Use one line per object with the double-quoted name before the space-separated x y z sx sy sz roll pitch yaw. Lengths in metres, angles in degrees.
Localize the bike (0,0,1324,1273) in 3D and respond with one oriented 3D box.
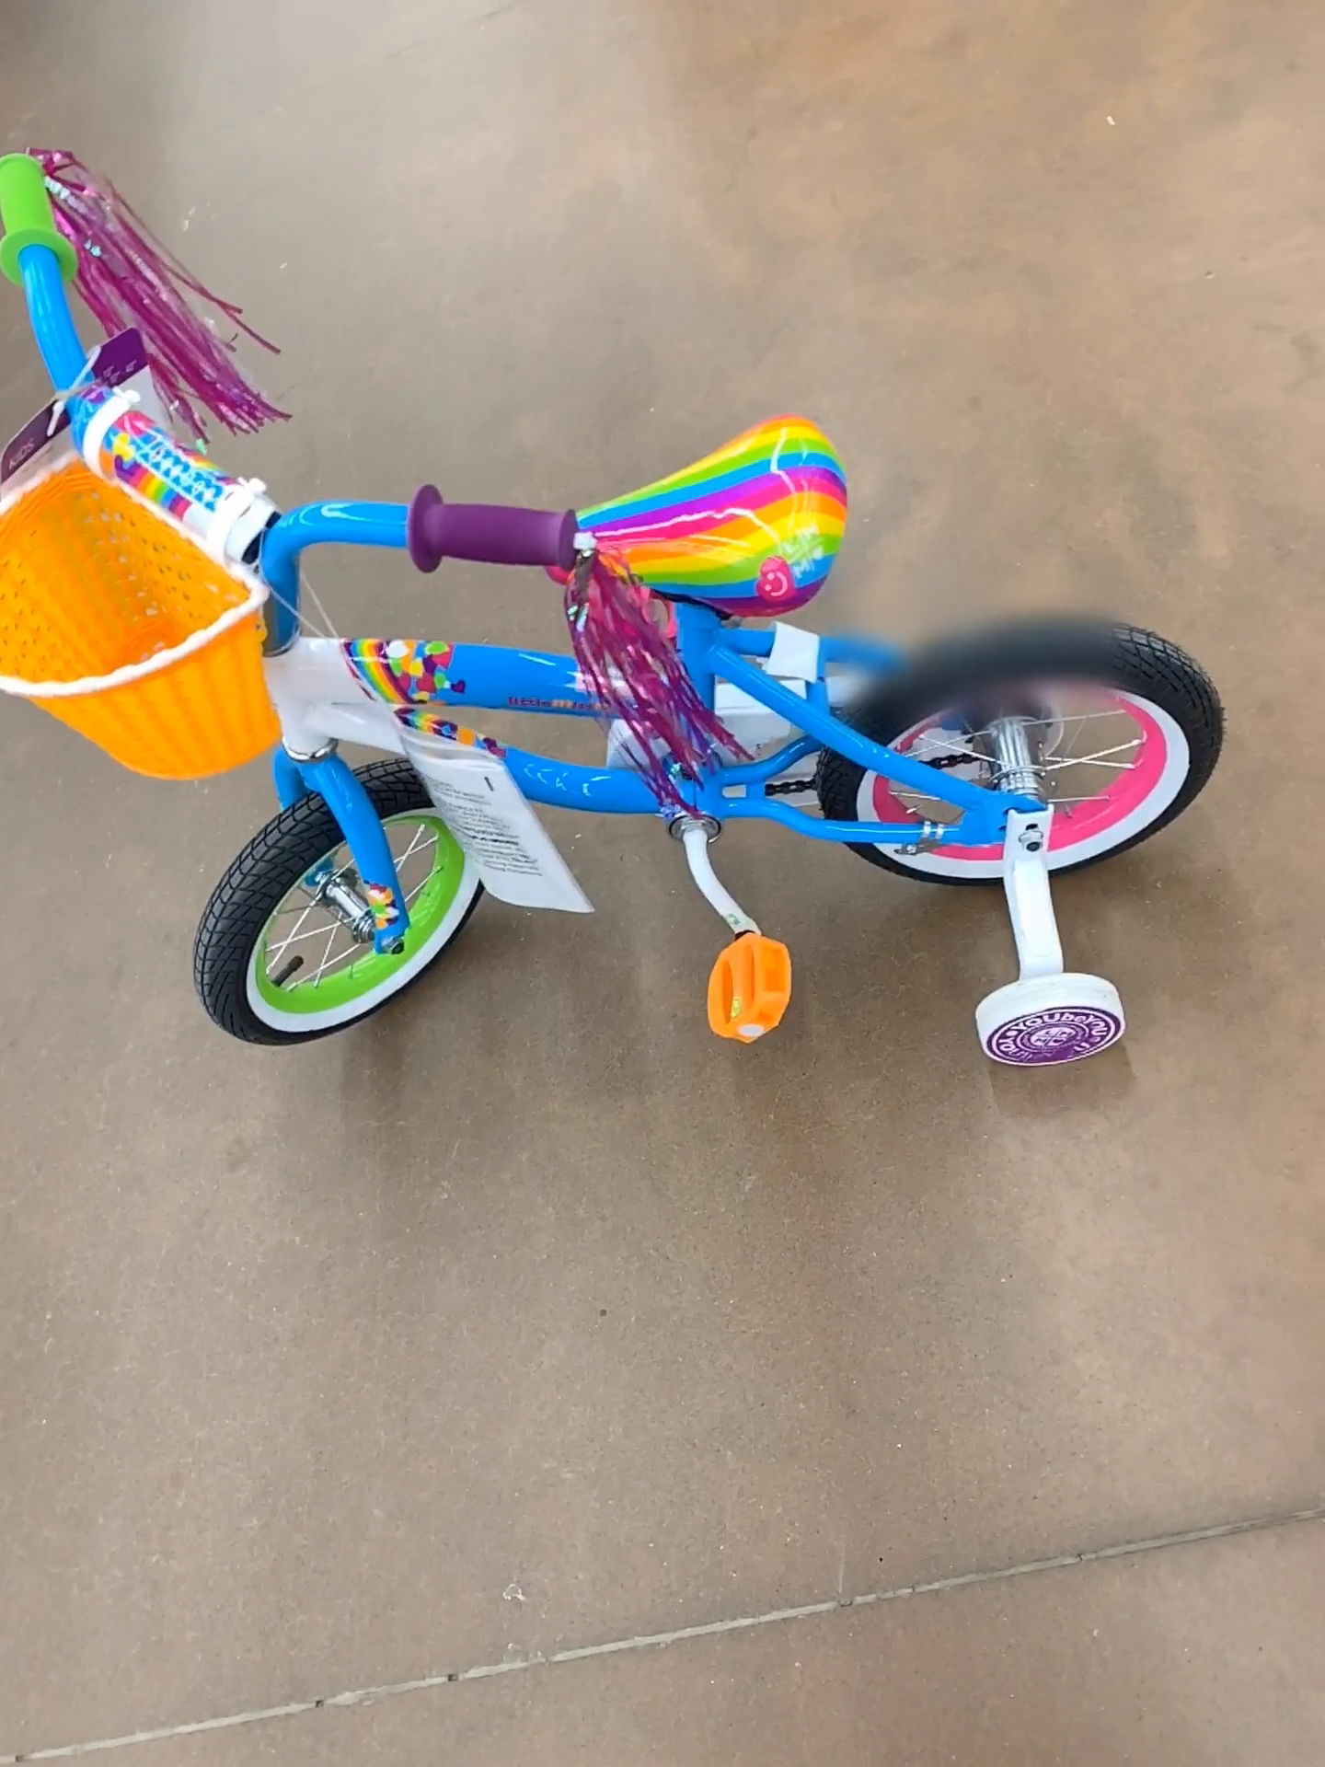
"bike" -0.063 -0.183 0.948 0.816 0.664 0.554 -18 54 7
